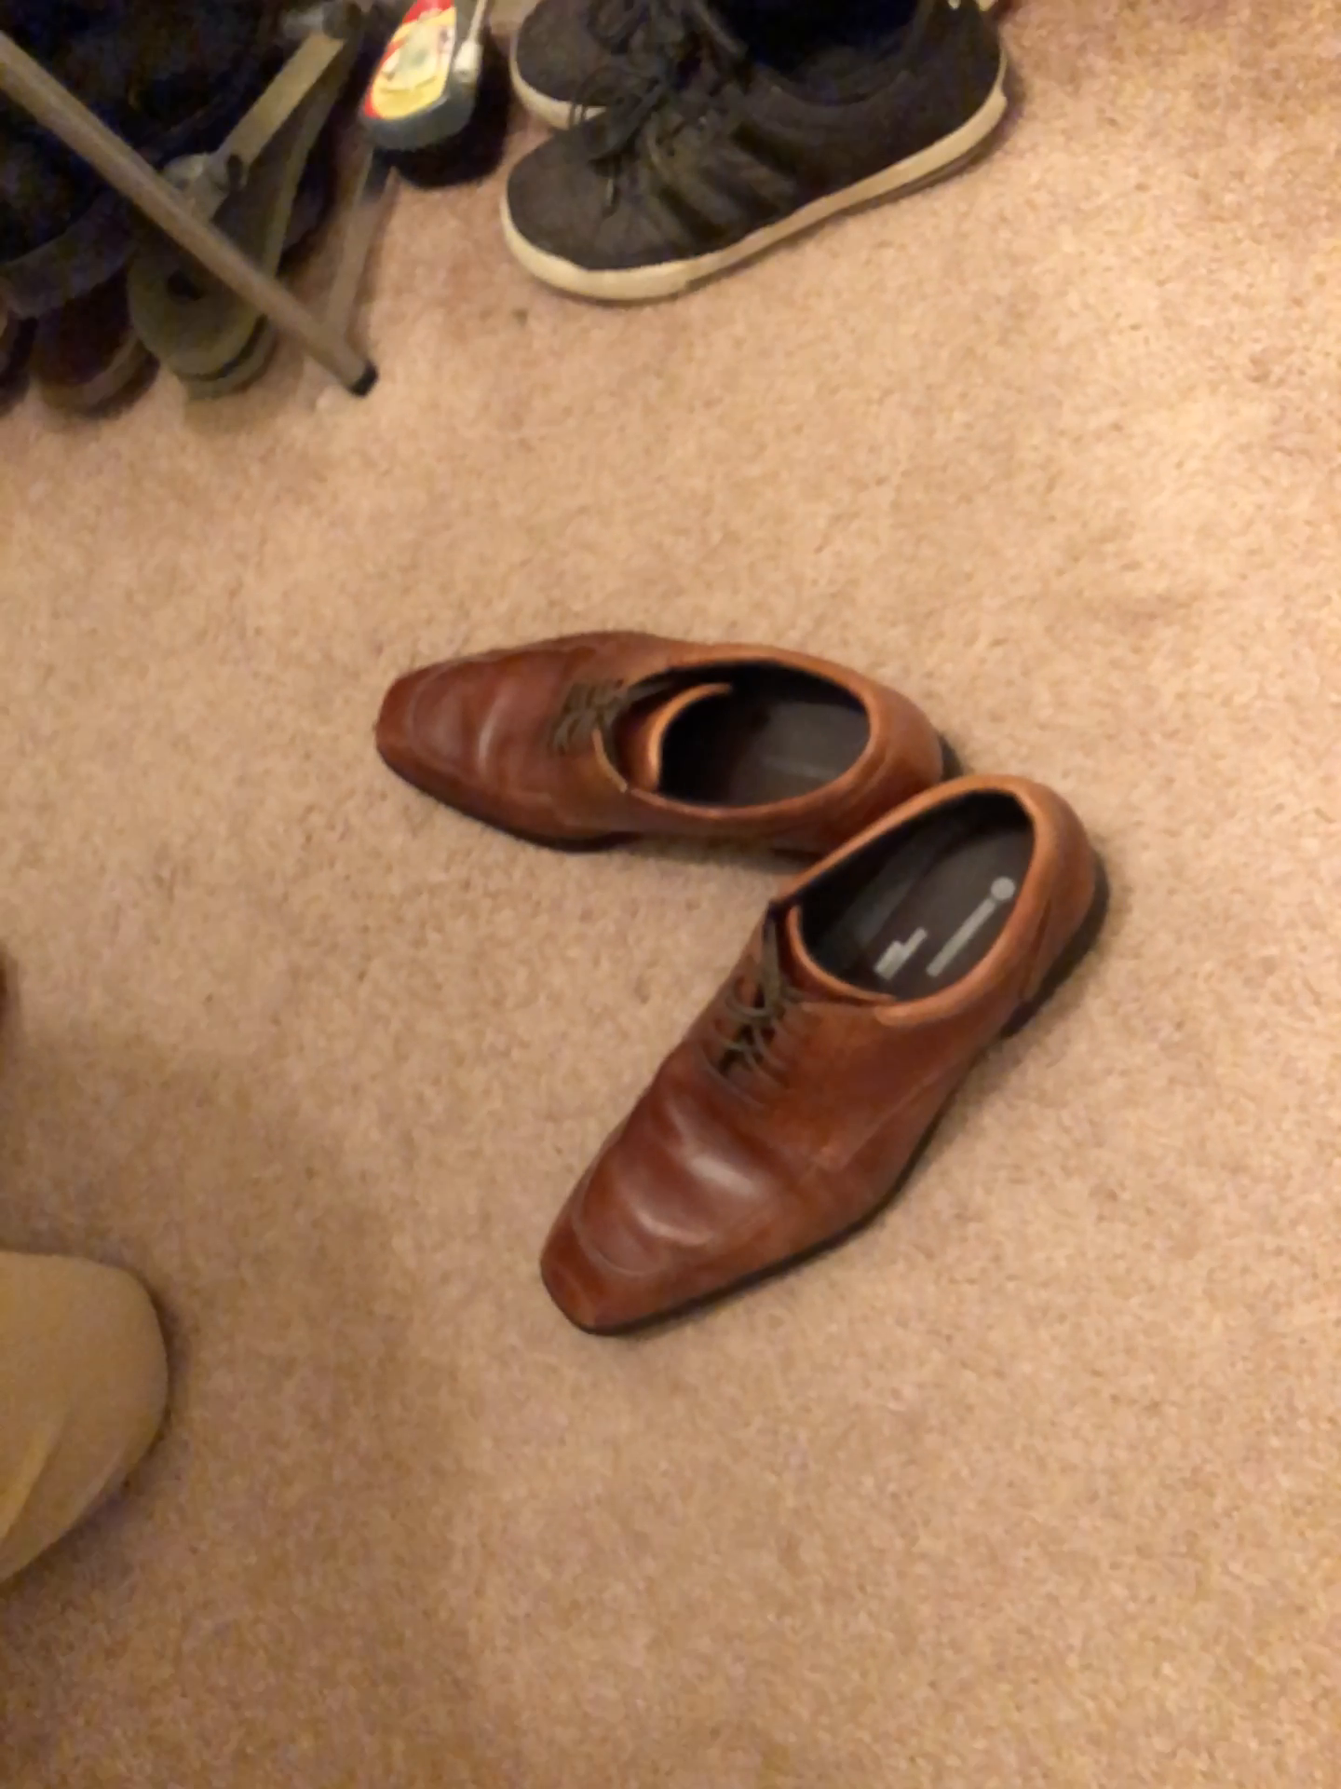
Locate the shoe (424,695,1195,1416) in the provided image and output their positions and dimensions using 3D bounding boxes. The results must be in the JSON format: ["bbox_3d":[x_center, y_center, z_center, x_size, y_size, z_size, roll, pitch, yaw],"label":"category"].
[{"bbox_3d":[0.059,0.074,0.612,0.300,0.110,0.100,-43,64,7],"label":"shoe"}]

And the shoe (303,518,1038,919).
[{"bbox_3d":[-0.001,-0.085,0.694,0.300,0.120,0.120,10,80,26],"label":"shoe"}]
